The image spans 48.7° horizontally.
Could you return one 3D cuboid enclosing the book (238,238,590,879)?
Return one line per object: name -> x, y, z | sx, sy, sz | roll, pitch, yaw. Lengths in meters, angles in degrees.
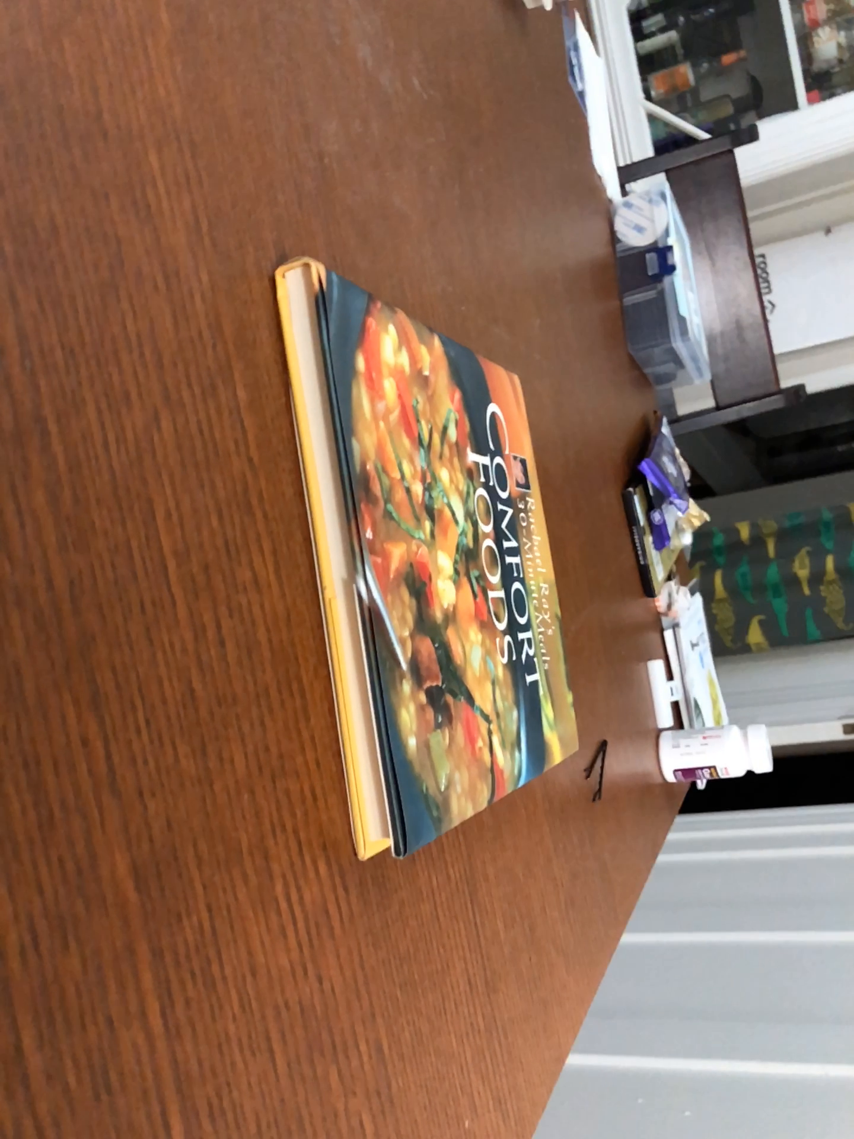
book -> 0.010, -0.003, 0.394 | 0.211, 0.030, 0.200 | 1, 80, -65
